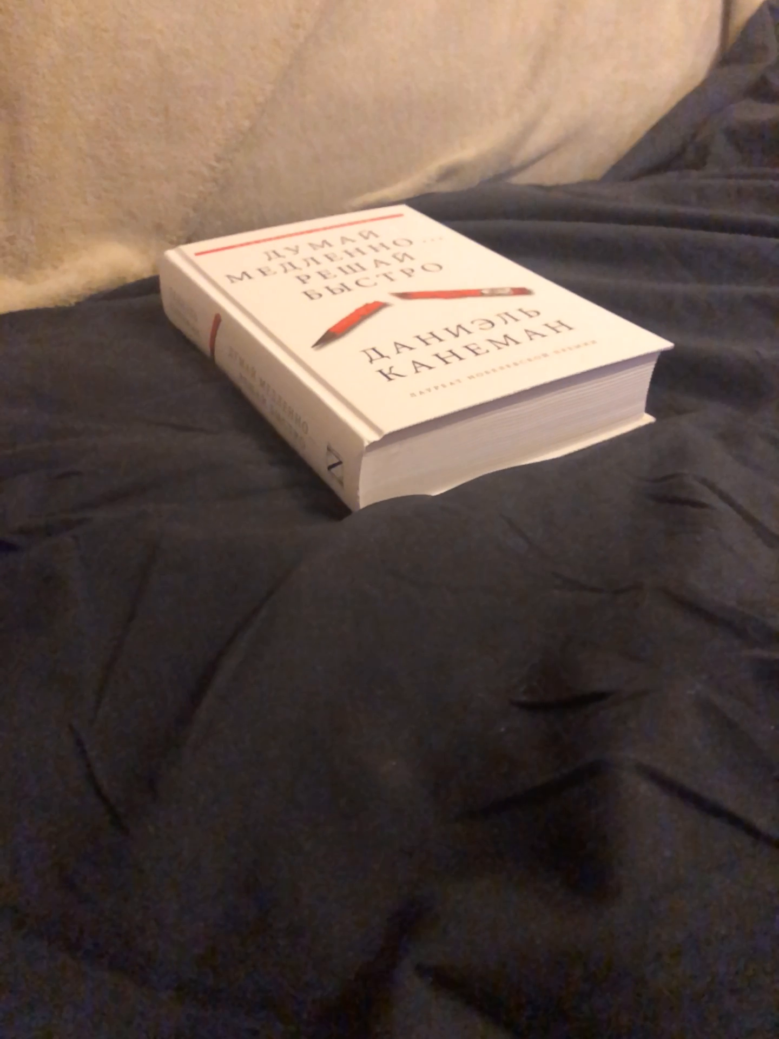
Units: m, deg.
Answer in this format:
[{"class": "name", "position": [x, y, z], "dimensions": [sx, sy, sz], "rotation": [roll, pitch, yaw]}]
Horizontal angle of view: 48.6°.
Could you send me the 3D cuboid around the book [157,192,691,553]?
[{"class": "book", "position": [0.002, -0.088, 0.406], "dimensions": [0.149, 0.050, 0.220], "rotation": [-20, 41, -23]}]
